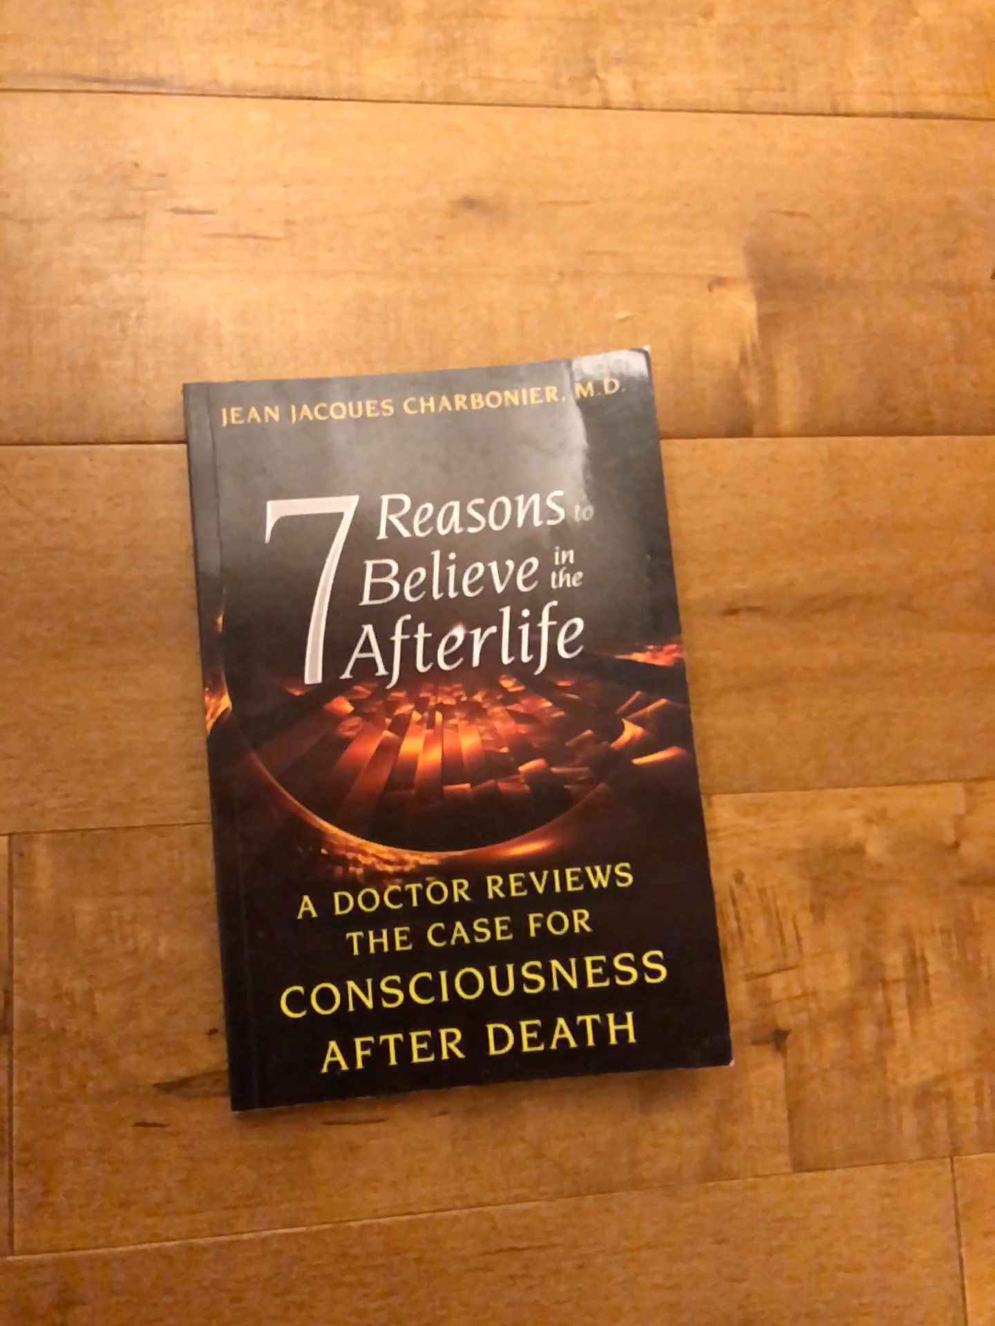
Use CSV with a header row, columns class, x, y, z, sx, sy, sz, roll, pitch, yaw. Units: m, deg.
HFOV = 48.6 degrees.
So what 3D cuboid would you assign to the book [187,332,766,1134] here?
class,x,y,z,sx,sy,sz,roll,pitch,yaw
book,-0.011,0.019,0.378,0.170,0.030,0.250,-5,83,-1
